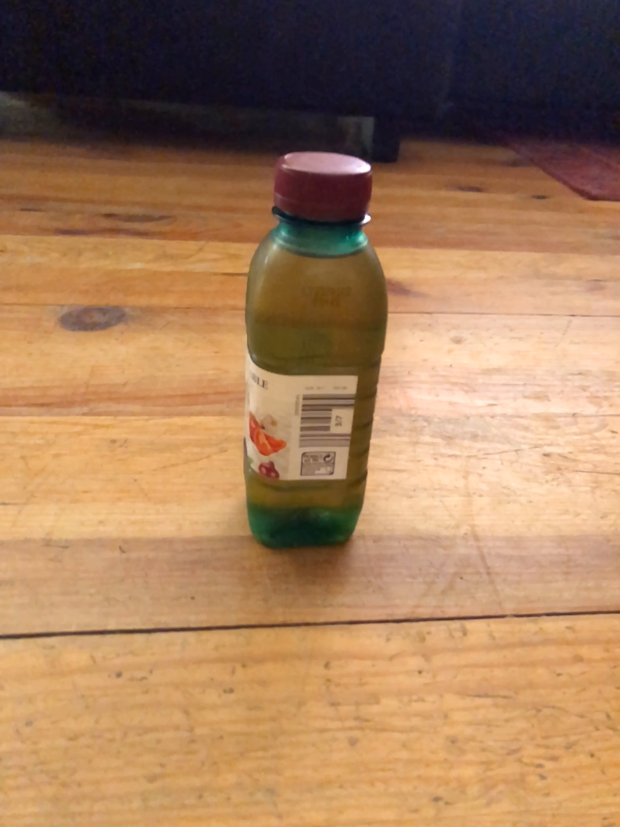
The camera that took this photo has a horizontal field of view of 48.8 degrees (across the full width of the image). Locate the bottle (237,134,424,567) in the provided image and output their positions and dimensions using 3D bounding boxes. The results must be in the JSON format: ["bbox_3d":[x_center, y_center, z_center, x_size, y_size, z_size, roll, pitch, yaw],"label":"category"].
[{"bbox_3d":[-0.001,-0.019,0.258,0.050,0.149,0.060,0,32,-8],"label":"bottle"}]
